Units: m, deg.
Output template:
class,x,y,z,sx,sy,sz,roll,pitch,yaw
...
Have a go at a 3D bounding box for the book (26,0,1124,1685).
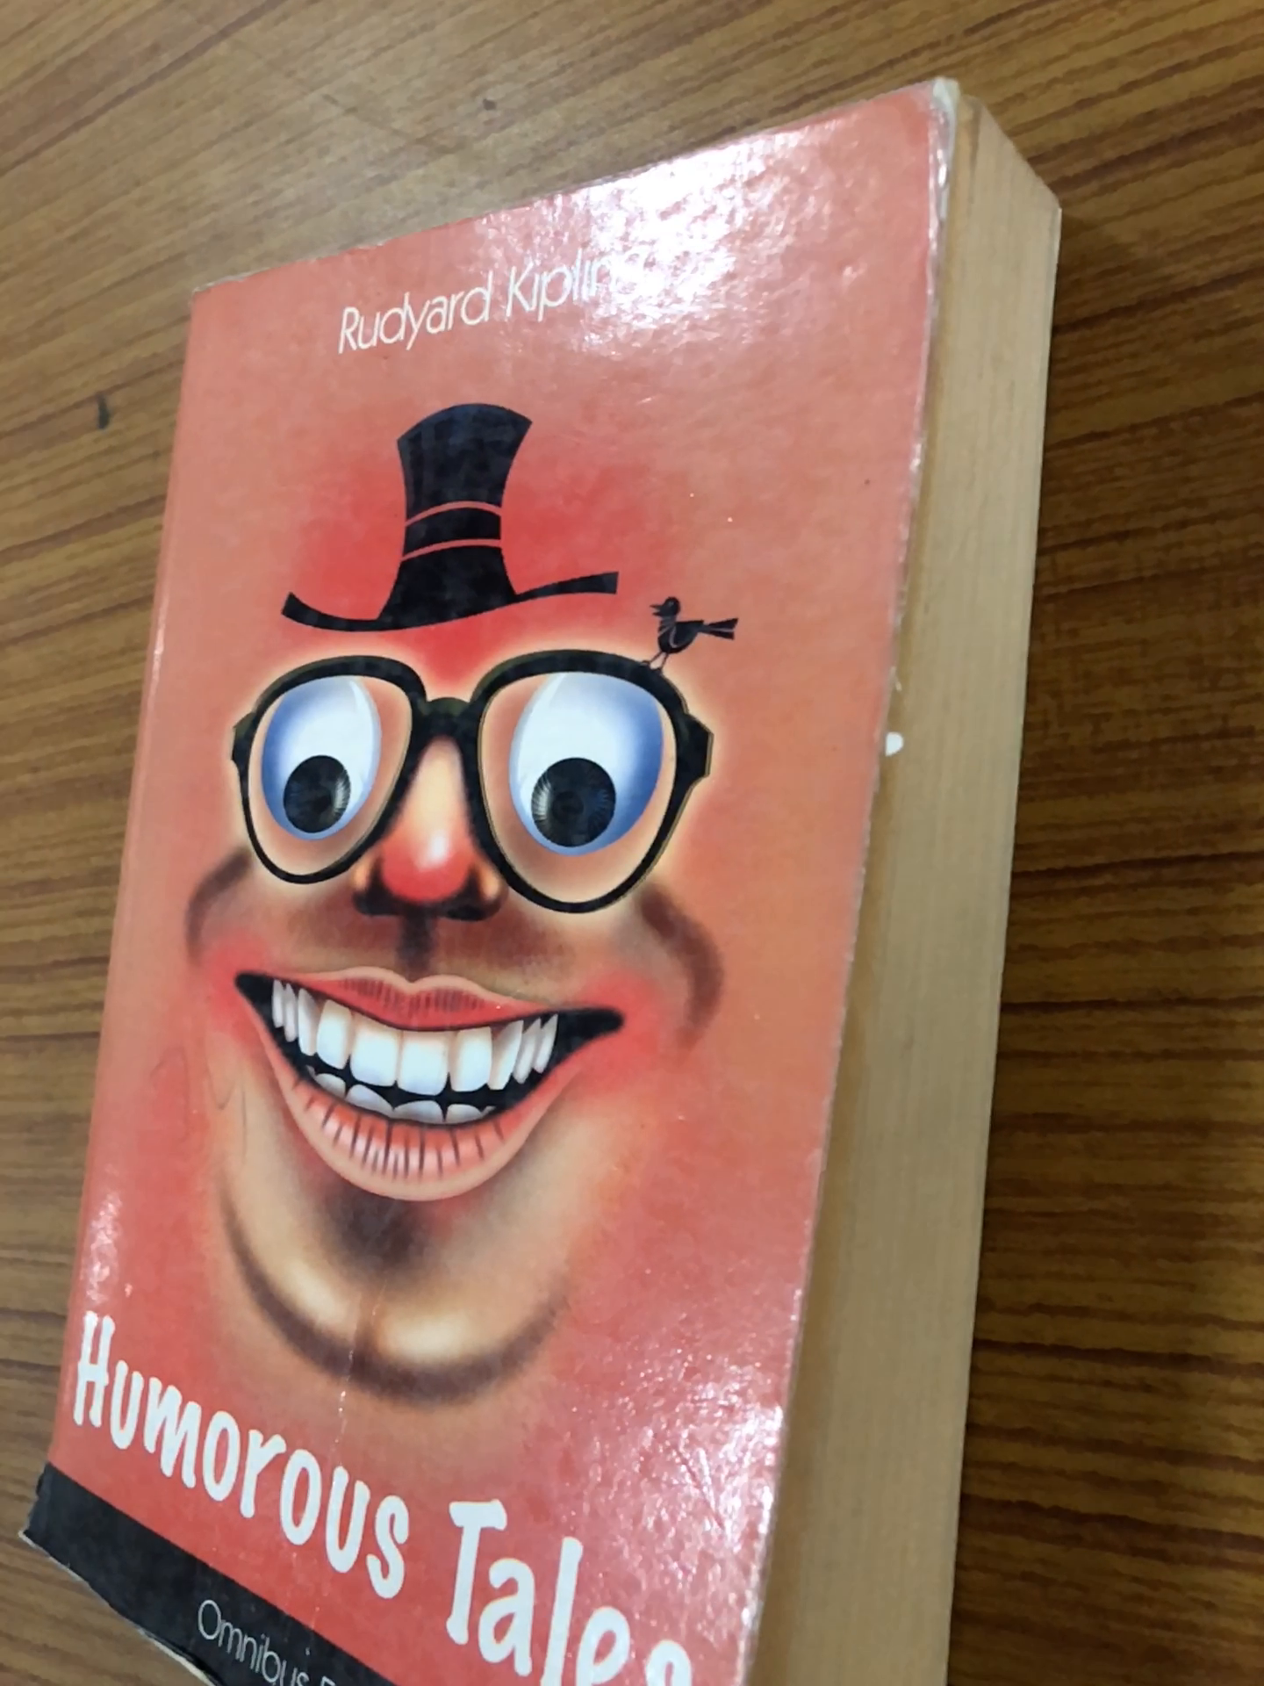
class,x,y,z,sx,sy,sz,roll,pitch,yaw
book,-0.017,0.009,0.183,0.131,0.040,0.190,3,86,44
